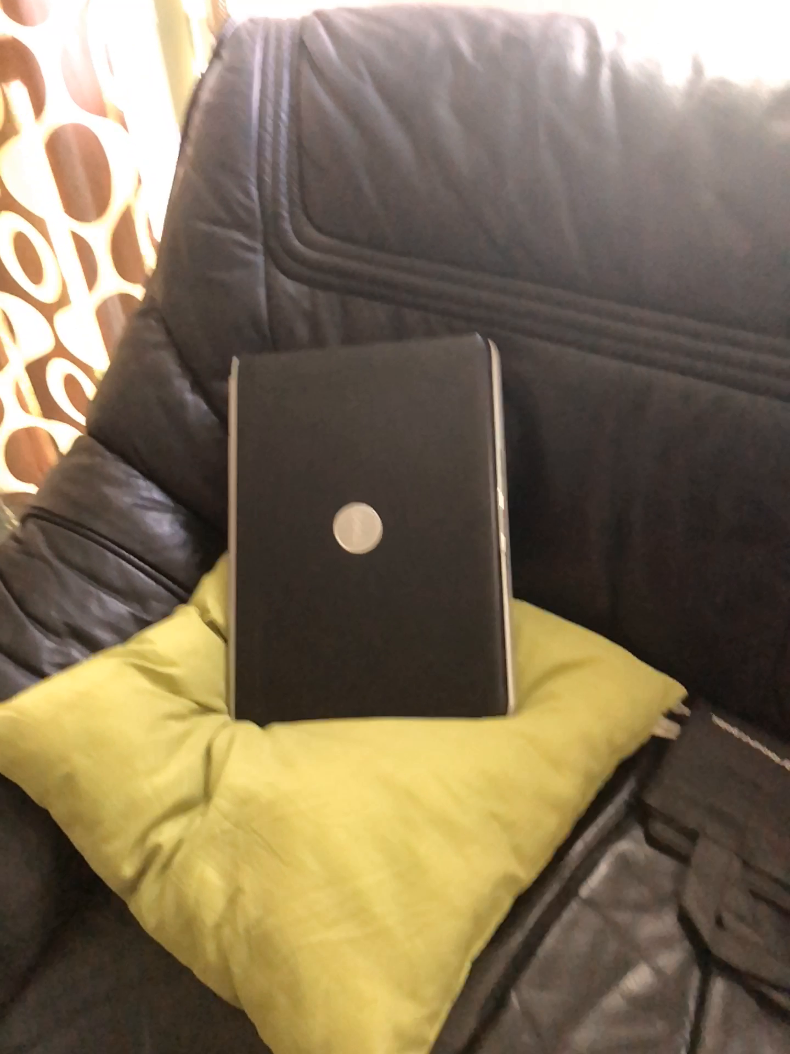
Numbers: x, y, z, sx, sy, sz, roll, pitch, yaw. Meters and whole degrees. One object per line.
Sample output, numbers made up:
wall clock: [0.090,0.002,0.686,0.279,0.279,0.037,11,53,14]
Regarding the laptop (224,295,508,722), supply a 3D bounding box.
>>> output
laptop: [-0.033,-0.014,0.779,0.247,0.033,0.345,-4,79,11]
